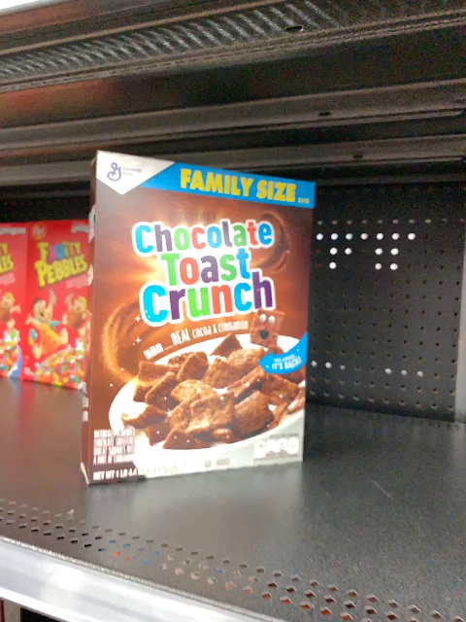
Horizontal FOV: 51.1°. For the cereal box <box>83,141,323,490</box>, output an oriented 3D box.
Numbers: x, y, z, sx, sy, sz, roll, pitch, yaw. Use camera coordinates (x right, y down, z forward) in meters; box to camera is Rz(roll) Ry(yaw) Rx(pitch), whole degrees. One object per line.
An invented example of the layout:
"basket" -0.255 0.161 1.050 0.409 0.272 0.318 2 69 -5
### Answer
"cereal box" -0.031 0.005 0.527 0.240 0.320 0.070 0 3 -24
